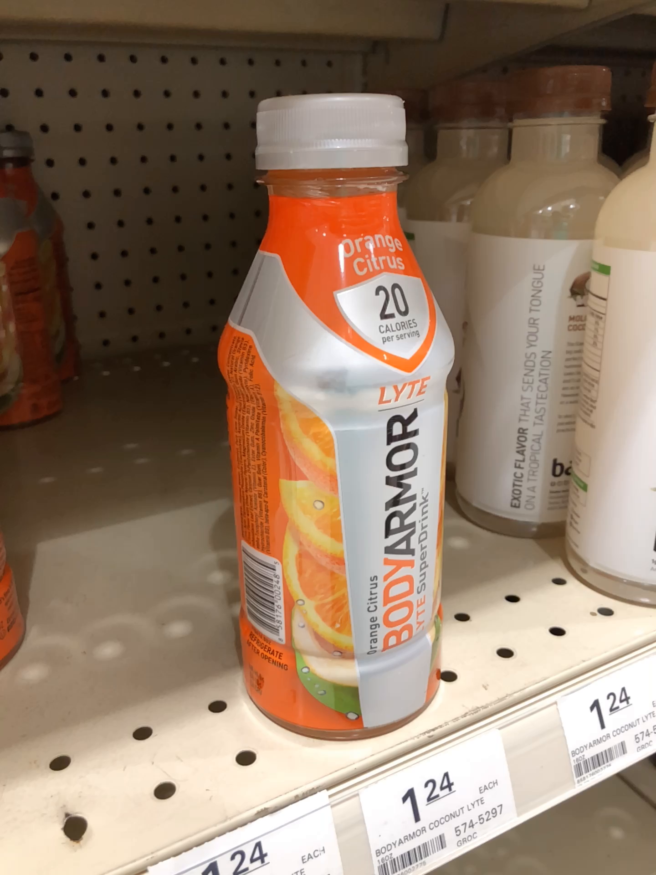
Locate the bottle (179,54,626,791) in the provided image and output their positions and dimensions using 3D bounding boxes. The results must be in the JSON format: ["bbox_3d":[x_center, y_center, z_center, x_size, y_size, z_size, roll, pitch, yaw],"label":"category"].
[{"bbox_3d":[0.016,-0.008,0.218,0.080,0.180,0.080,-1,22,0],"label":"bottle"}]
